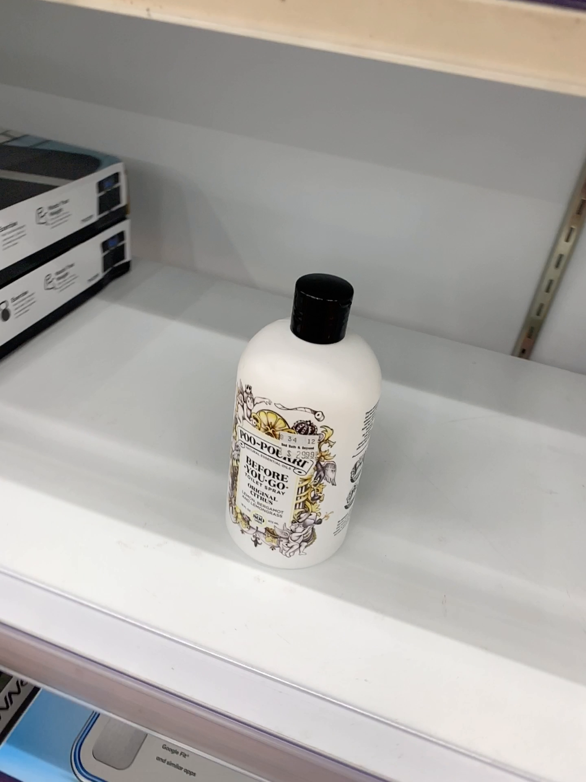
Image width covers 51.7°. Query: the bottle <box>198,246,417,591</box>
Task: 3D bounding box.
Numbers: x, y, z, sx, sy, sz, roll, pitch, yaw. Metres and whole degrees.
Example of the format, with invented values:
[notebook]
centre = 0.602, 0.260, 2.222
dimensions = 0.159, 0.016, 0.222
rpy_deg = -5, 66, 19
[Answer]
[bottle]
centre = 0.003, 0.016, 0.319
dimensions = 0.073, 0.153, 0.070
rpy_deg = 6, 35, -4
